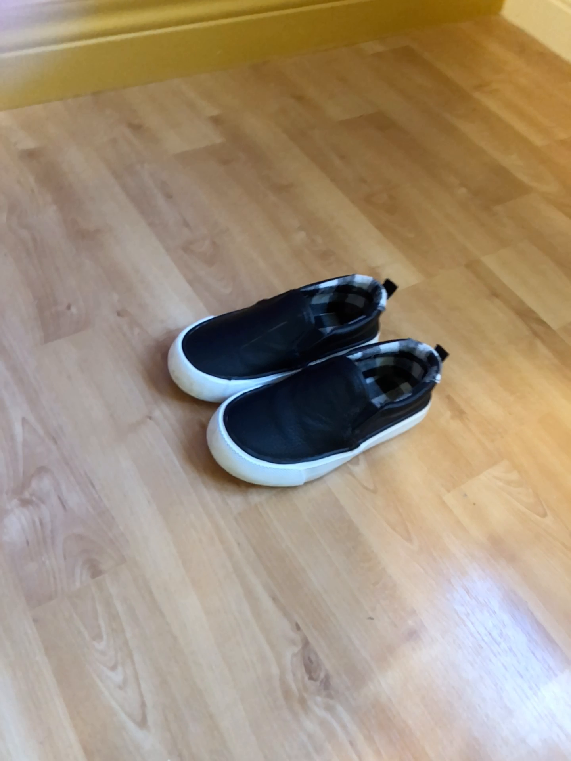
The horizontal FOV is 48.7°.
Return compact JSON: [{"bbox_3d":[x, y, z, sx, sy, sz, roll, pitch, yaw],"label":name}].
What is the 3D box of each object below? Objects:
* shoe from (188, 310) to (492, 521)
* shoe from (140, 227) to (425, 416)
[{"bbox_3d":[0.033,0.020,0.426,0.180,0.060,0.080,-14,57,-18],"label":"shoe"},{"bbox_3d":[-0.004,-0.047,0.456,0.180,0.060,0.080,-15,57,-19],"label":"shoe"}]
